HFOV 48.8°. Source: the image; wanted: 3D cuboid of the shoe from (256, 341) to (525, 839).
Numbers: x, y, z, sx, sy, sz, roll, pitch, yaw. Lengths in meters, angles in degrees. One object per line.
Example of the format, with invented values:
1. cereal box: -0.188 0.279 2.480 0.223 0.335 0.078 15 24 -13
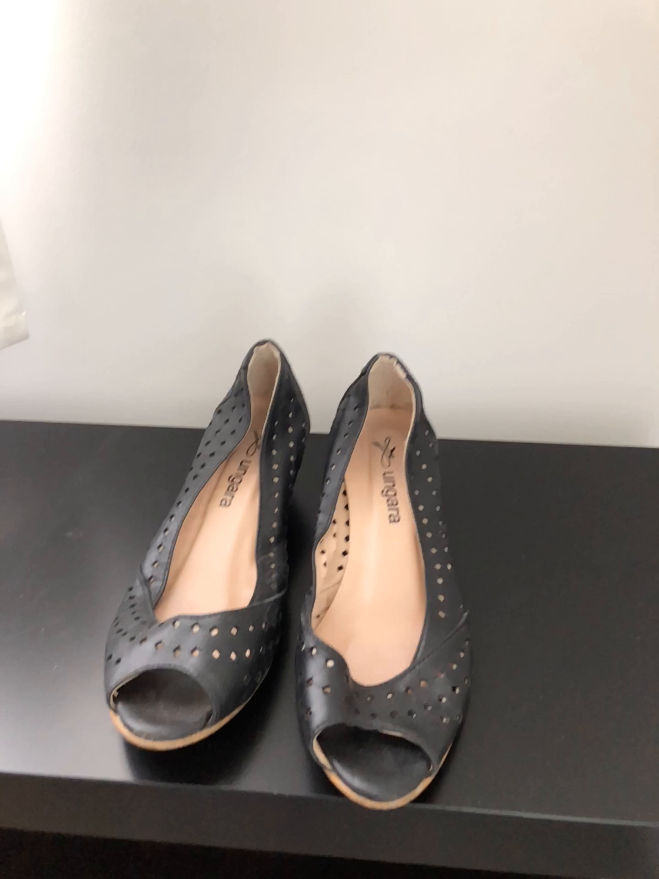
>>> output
1. shoe: 0.027 0.051 0.349 0.085 0.100 0.221 2 36 4

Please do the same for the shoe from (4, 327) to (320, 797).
1. shoe: -0.061 0.042 0.376 0.085 0.100 0.231 3 36 5
